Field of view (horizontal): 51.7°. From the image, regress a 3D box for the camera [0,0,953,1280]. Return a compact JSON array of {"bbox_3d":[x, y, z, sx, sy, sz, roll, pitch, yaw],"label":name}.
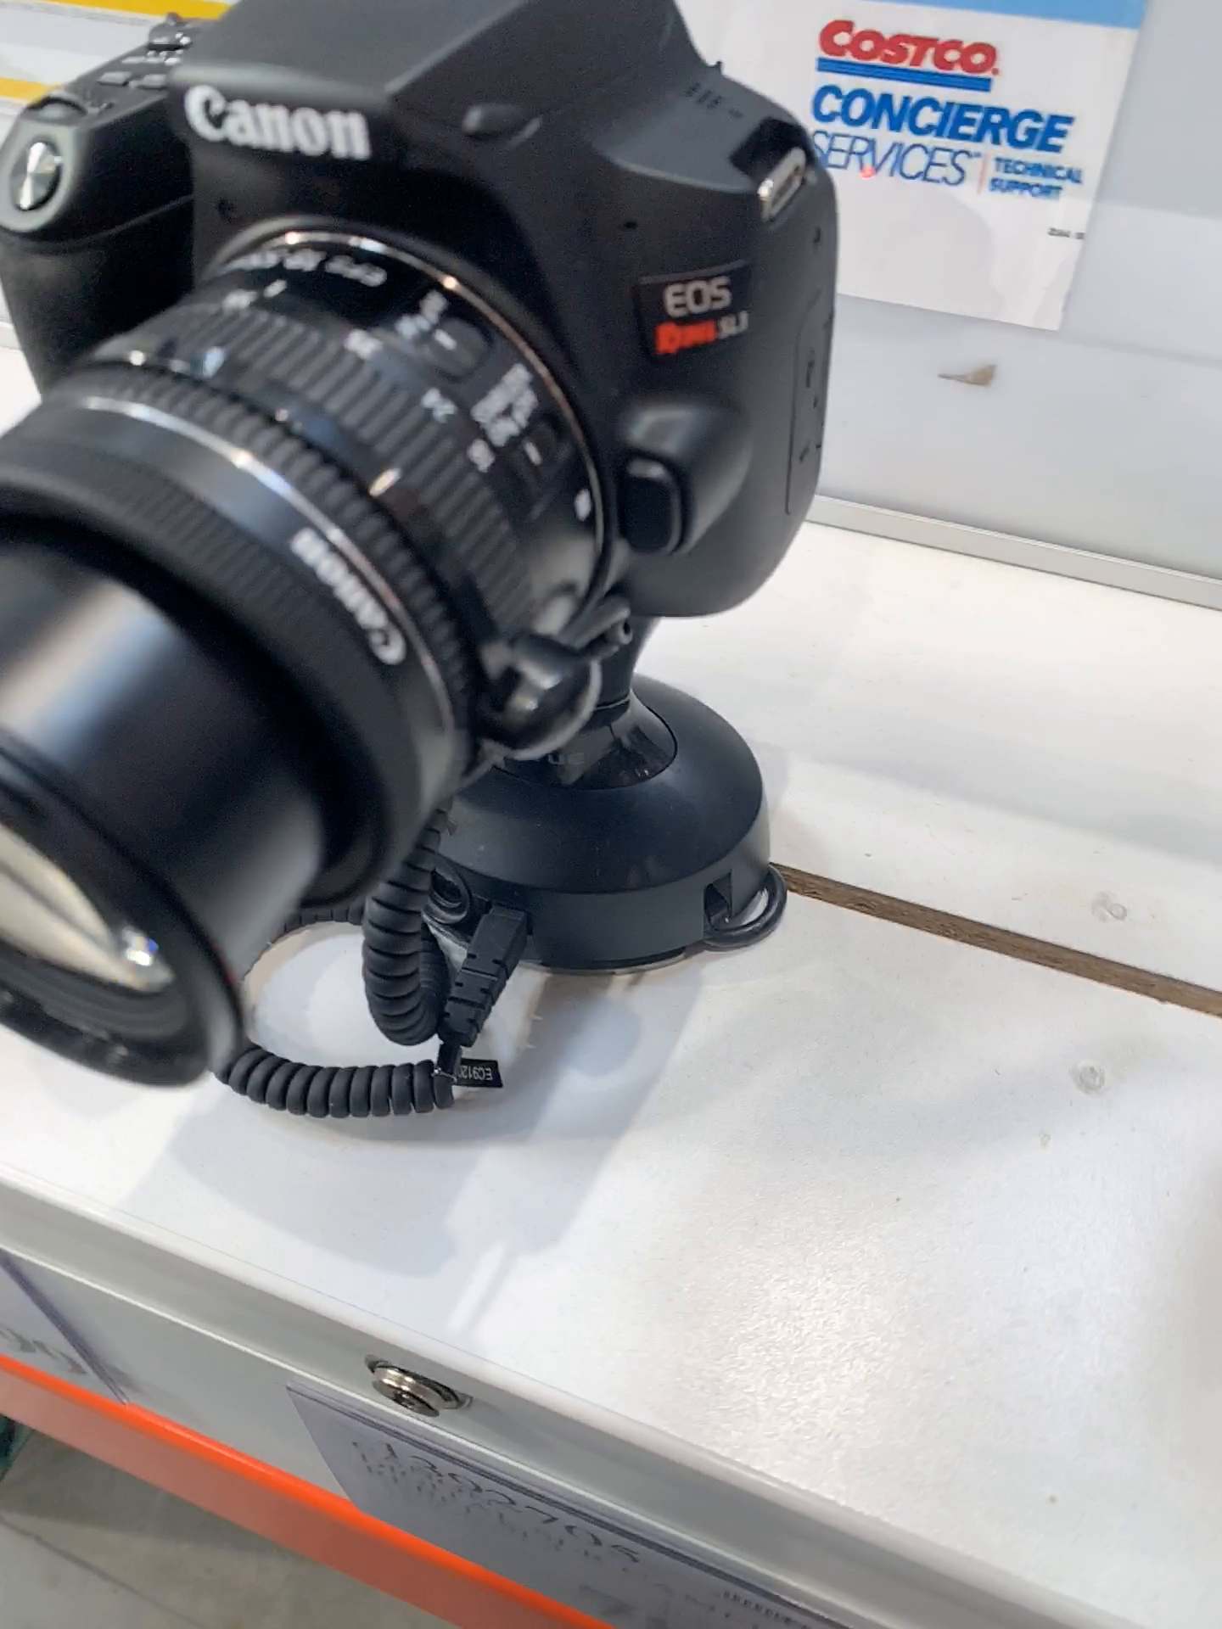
[{"bbox_3d":[-0.040,-0.047,0.150,0.119,0.079,0.141,15,49,14],"label":"camera"}]
